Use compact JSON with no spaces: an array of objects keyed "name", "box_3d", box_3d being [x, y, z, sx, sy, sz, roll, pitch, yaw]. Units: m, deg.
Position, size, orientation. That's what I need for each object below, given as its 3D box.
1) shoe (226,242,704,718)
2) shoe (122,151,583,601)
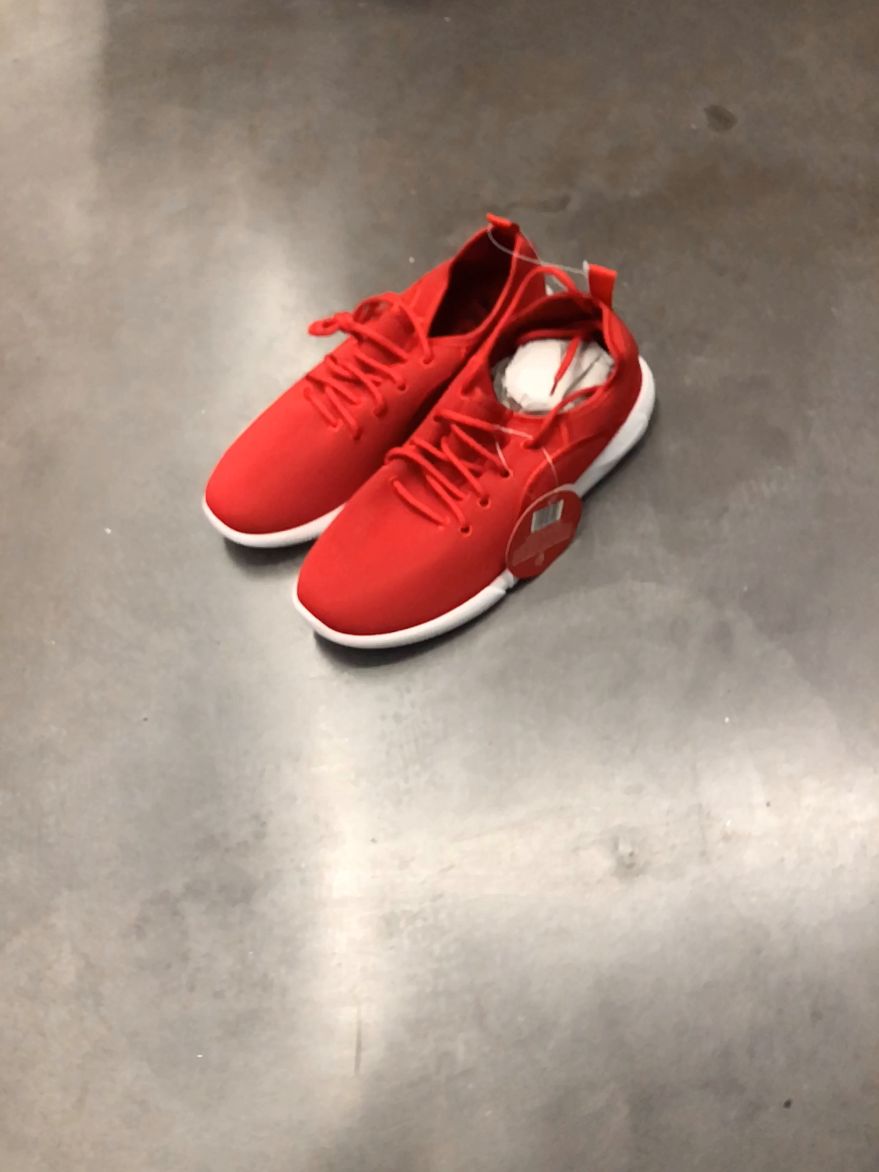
[{"name":"shoe","box_3d":[0.021,-0.061,0.551,0.250,0.100,0.100,-43,68,-13]},{"name":"shoe","box_3d":[-0.040,-0.125,0.578,0.250,0.100,0.100,-42,67,-13]}]
